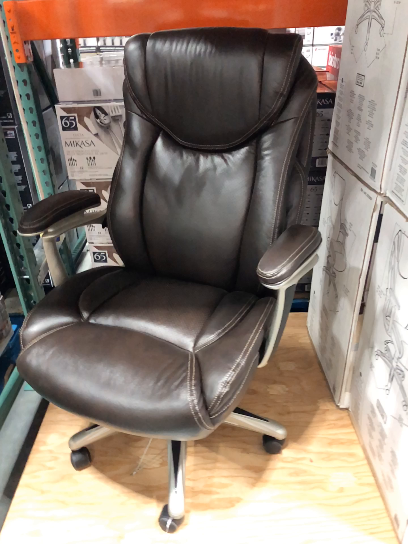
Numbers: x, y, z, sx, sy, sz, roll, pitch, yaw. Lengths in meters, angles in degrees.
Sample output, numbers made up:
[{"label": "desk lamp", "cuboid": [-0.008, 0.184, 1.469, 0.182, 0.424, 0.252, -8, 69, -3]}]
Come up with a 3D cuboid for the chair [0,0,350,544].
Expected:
[{"label": "chair", "cuboid": [-0.066, -0.045, 1.114, 0.661, 1.095, 0.723, 7, 31, 17]}]
